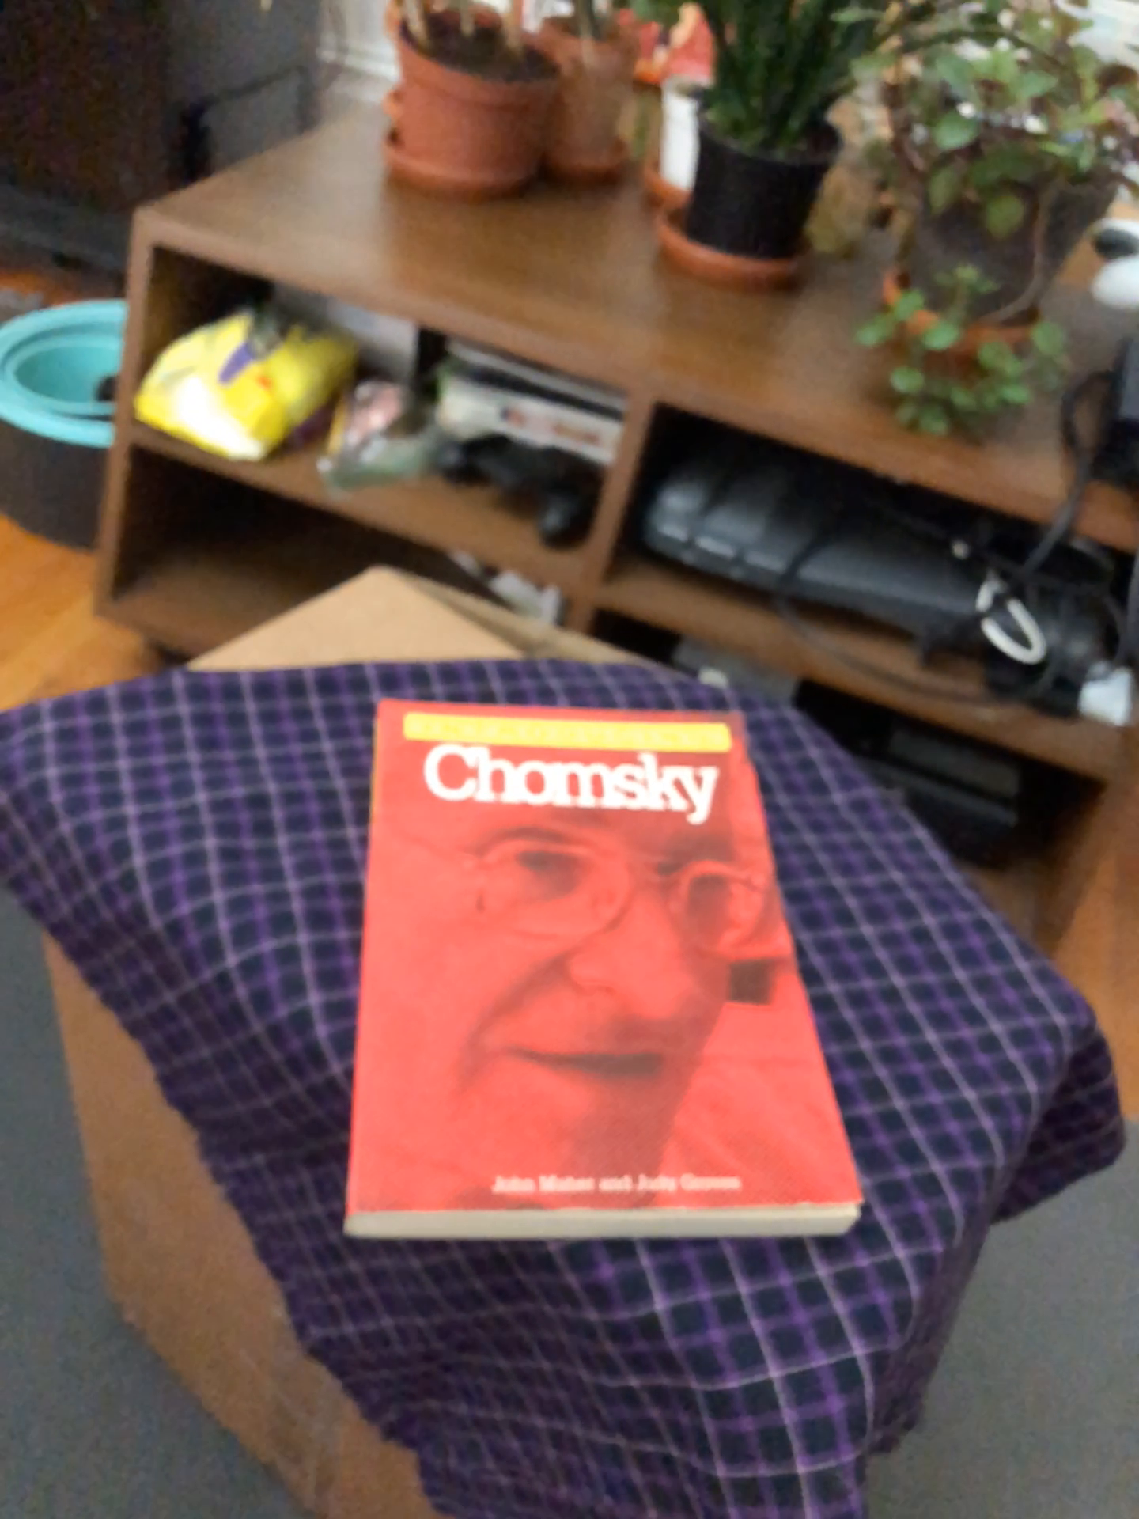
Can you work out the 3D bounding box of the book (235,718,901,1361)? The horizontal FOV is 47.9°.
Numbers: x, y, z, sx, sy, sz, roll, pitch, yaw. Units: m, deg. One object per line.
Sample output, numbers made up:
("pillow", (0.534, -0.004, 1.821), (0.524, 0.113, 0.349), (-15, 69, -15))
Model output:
("book", (-0.008, 0.076, 0.438), (0.180, 0.020, 0.241), (3, 41, -9))
